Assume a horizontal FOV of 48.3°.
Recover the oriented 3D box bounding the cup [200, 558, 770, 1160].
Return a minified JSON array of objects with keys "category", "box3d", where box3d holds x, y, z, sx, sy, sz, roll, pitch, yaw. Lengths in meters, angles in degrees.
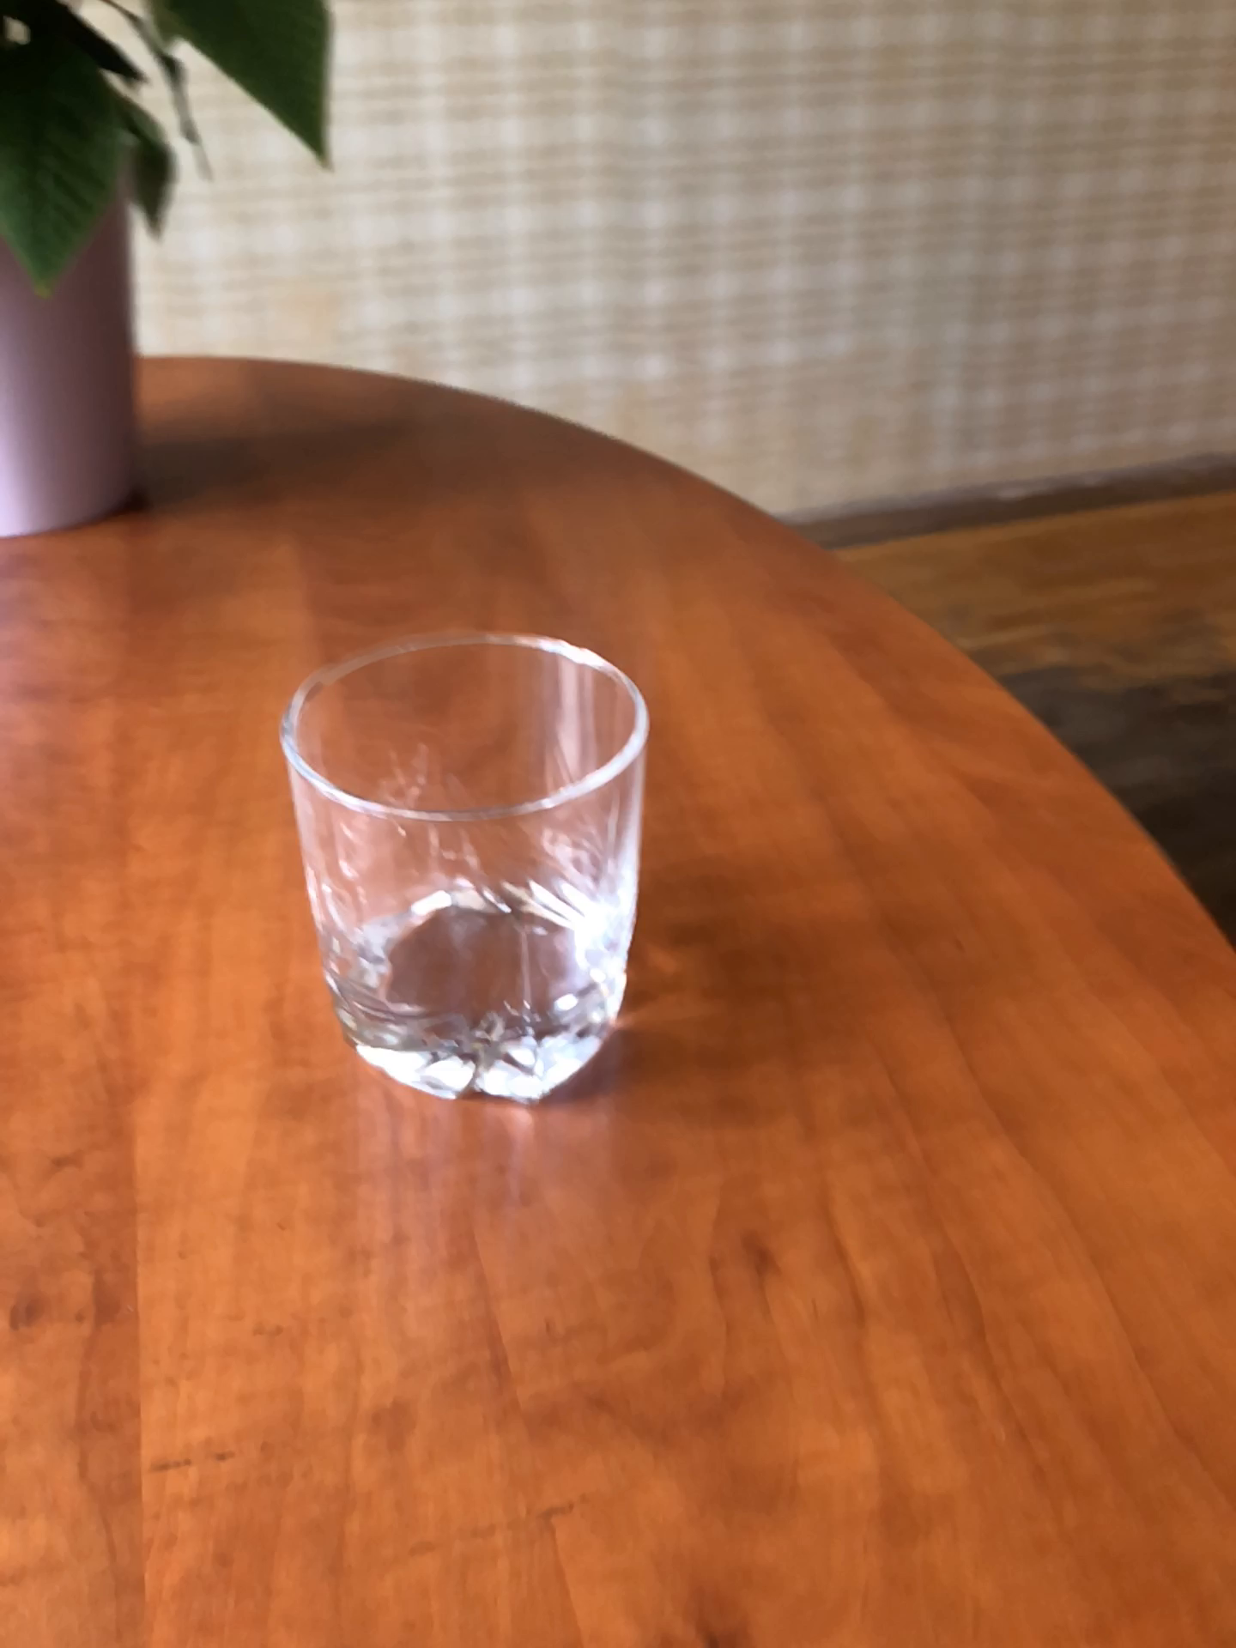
[{"category":"cup","box3d":[-0.031,0.002,0.332,0.095,0.086,0.089,0,34,0]}]
